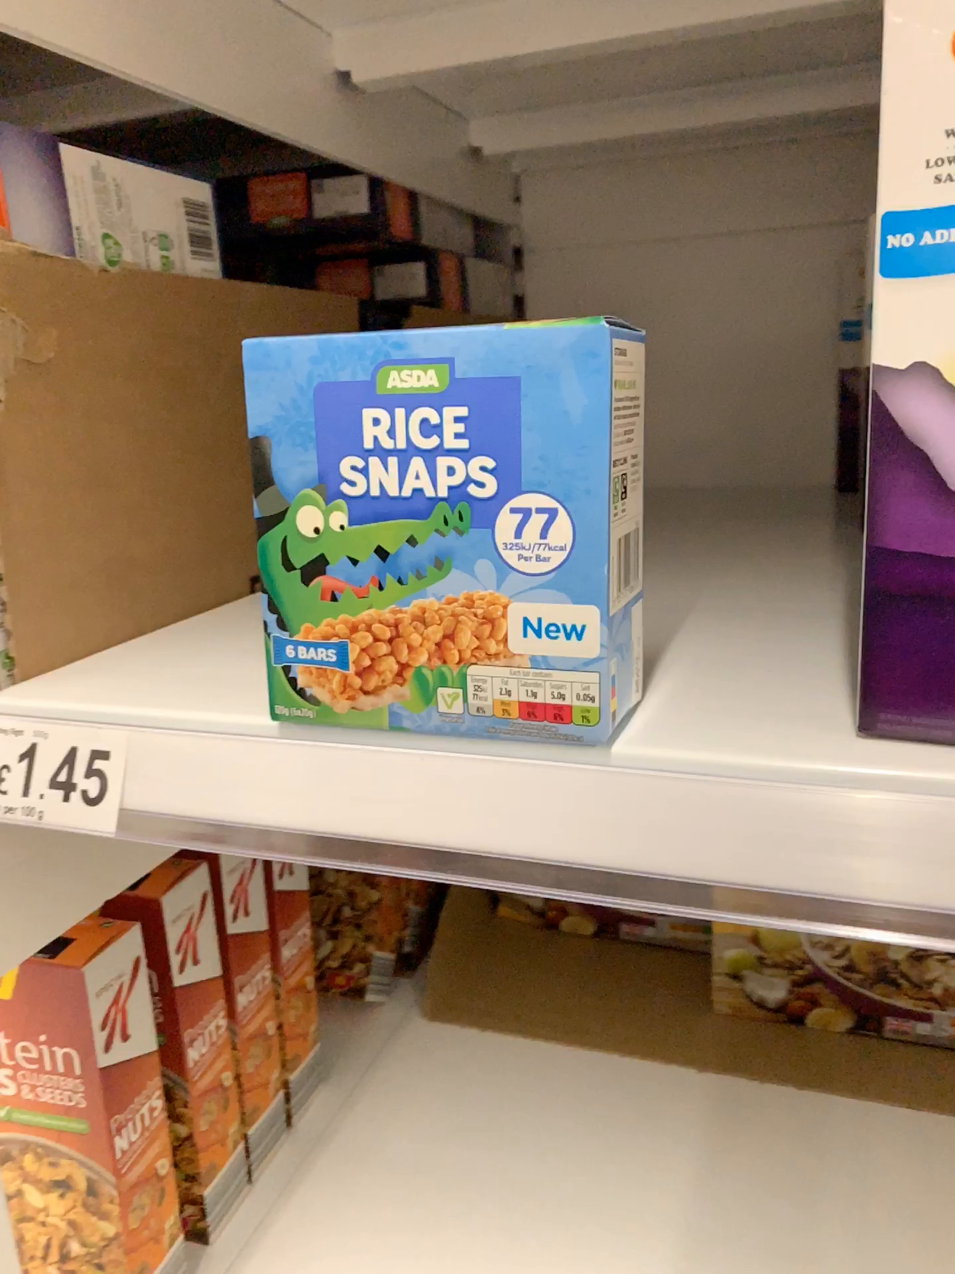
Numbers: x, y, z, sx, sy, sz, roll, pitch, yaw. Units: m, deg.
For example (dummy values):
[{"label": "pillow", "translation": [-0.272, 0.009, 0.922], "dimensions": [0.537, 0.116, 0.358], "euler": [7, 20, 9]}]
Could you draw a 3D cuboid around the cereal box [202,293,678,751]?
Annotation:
[{"label": "cereal box", "translation": [-0.010, -0.039, 0.324], "dimensions": [0.140, 0.129, 0.050], "euler": [3, 15, 18]}]
